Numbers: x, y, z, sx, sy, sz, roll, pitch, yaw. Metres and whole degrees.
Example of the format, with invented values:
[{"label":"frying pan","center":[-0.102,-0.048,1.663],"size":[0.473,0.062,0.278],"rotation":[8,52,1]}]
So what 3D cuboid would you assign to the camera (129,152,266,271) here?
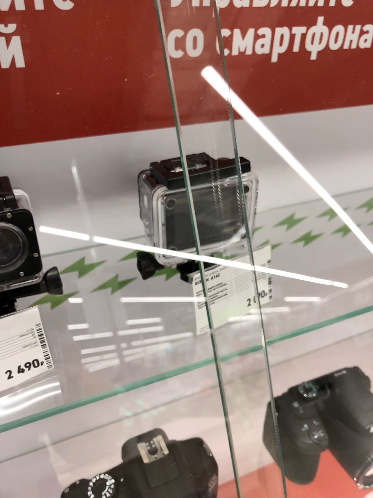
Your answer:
[{"label":"camera","center":[0.006,-0.027,0.274],"size":[0.075,0.053,0.040],"rotation":[-13,34,-21]}]
